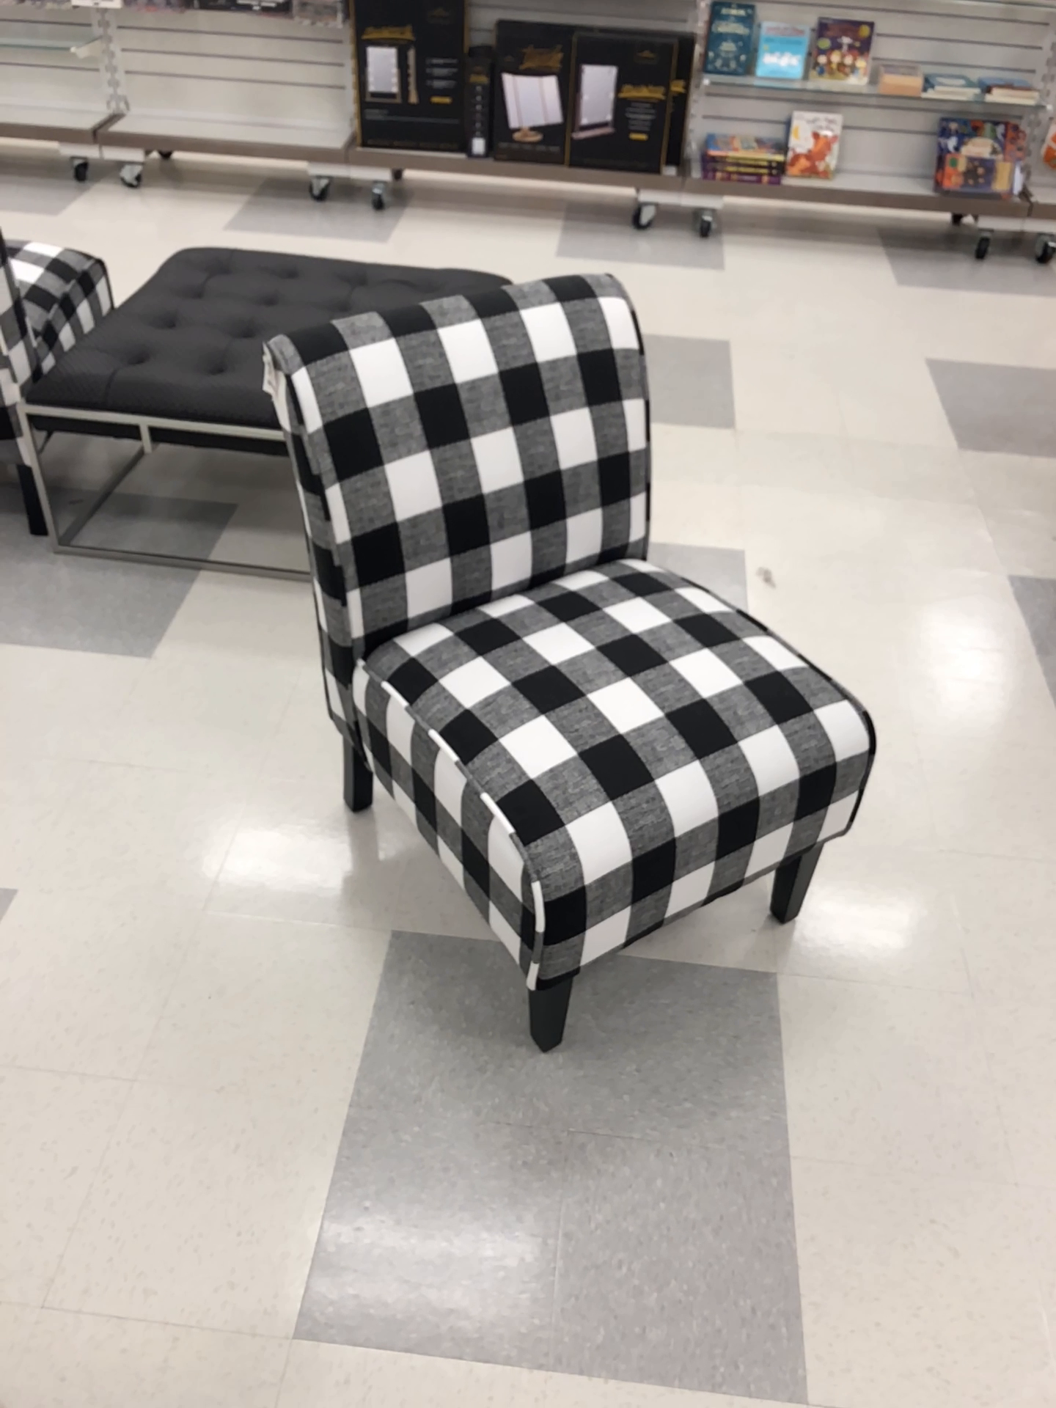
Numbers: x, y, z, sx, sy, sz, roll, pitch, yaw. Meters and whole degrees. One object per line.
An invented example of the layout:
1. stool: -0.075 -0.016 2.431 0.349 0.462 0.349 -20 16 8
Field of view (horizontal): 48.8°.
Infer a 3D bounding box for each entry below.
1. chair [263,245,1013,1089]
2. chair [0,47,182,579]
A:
1. chair: 0.091 -0.086 1.691 0.626 0.832 0.701 -21 46 -26
2. chair: -1.238 -0.851 2.511 0.624 0.832 0.733 6 40 3
